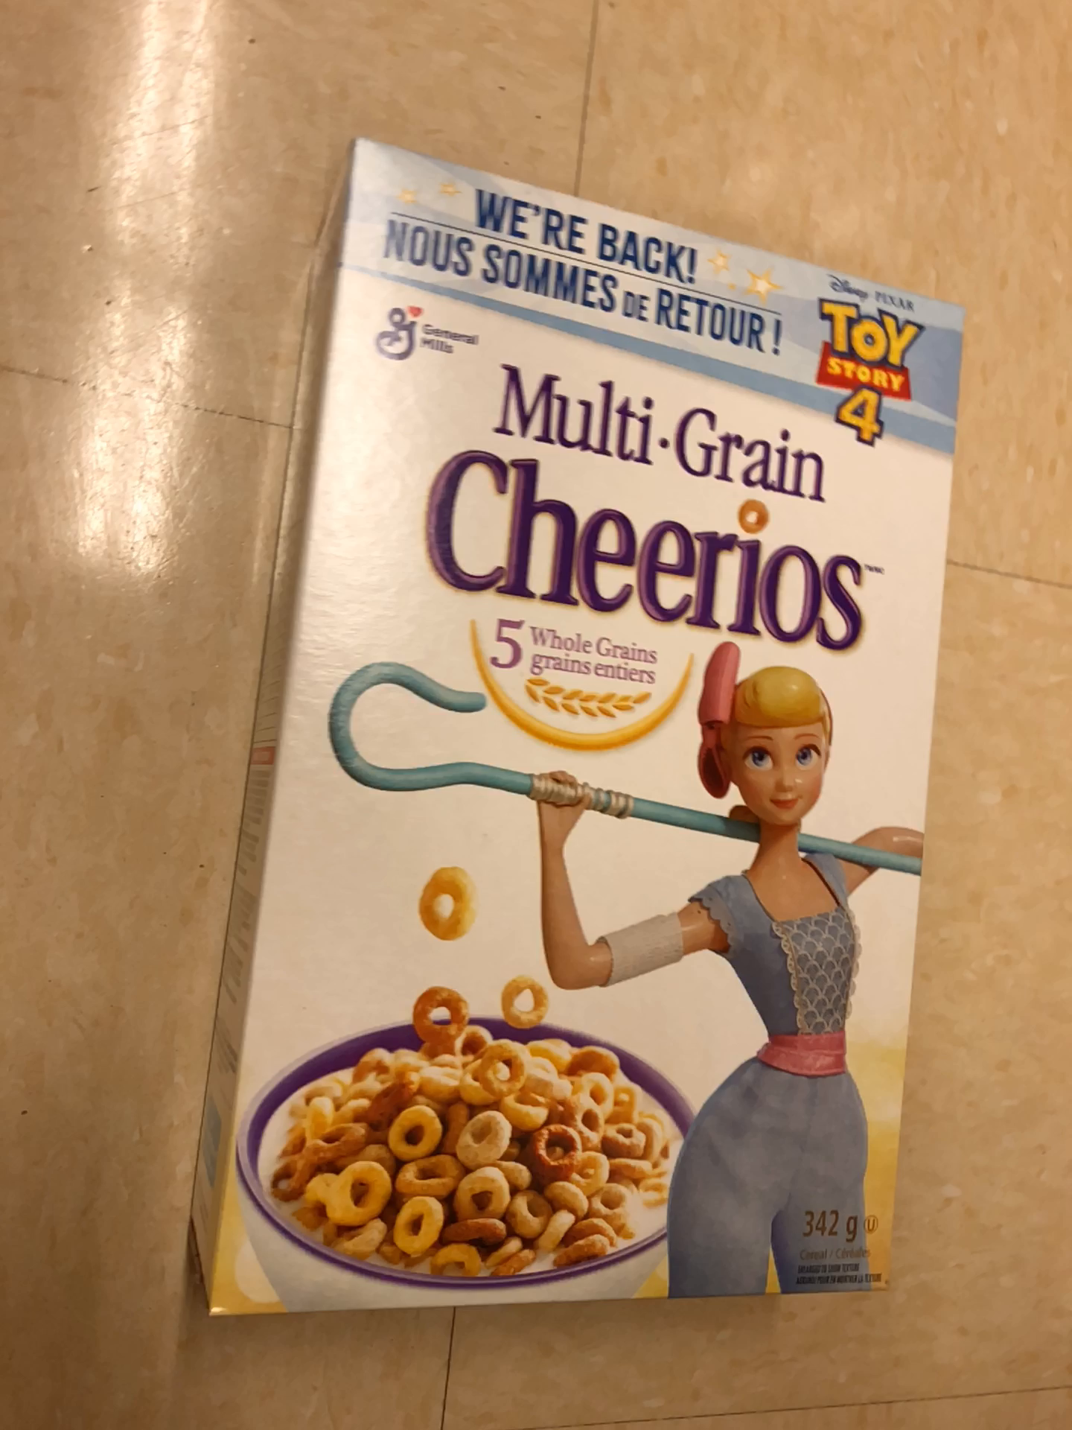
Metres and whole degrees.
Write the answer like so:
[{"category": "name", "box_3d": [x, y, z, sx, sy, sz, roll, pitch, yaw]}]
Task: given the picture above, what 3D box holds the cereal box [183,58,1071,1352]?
[{"category": "cereal box", "box_3d": [0.030, 0.006, 0.330, 0.210, 0.070, 0.290, 7, 86, -19]}]
